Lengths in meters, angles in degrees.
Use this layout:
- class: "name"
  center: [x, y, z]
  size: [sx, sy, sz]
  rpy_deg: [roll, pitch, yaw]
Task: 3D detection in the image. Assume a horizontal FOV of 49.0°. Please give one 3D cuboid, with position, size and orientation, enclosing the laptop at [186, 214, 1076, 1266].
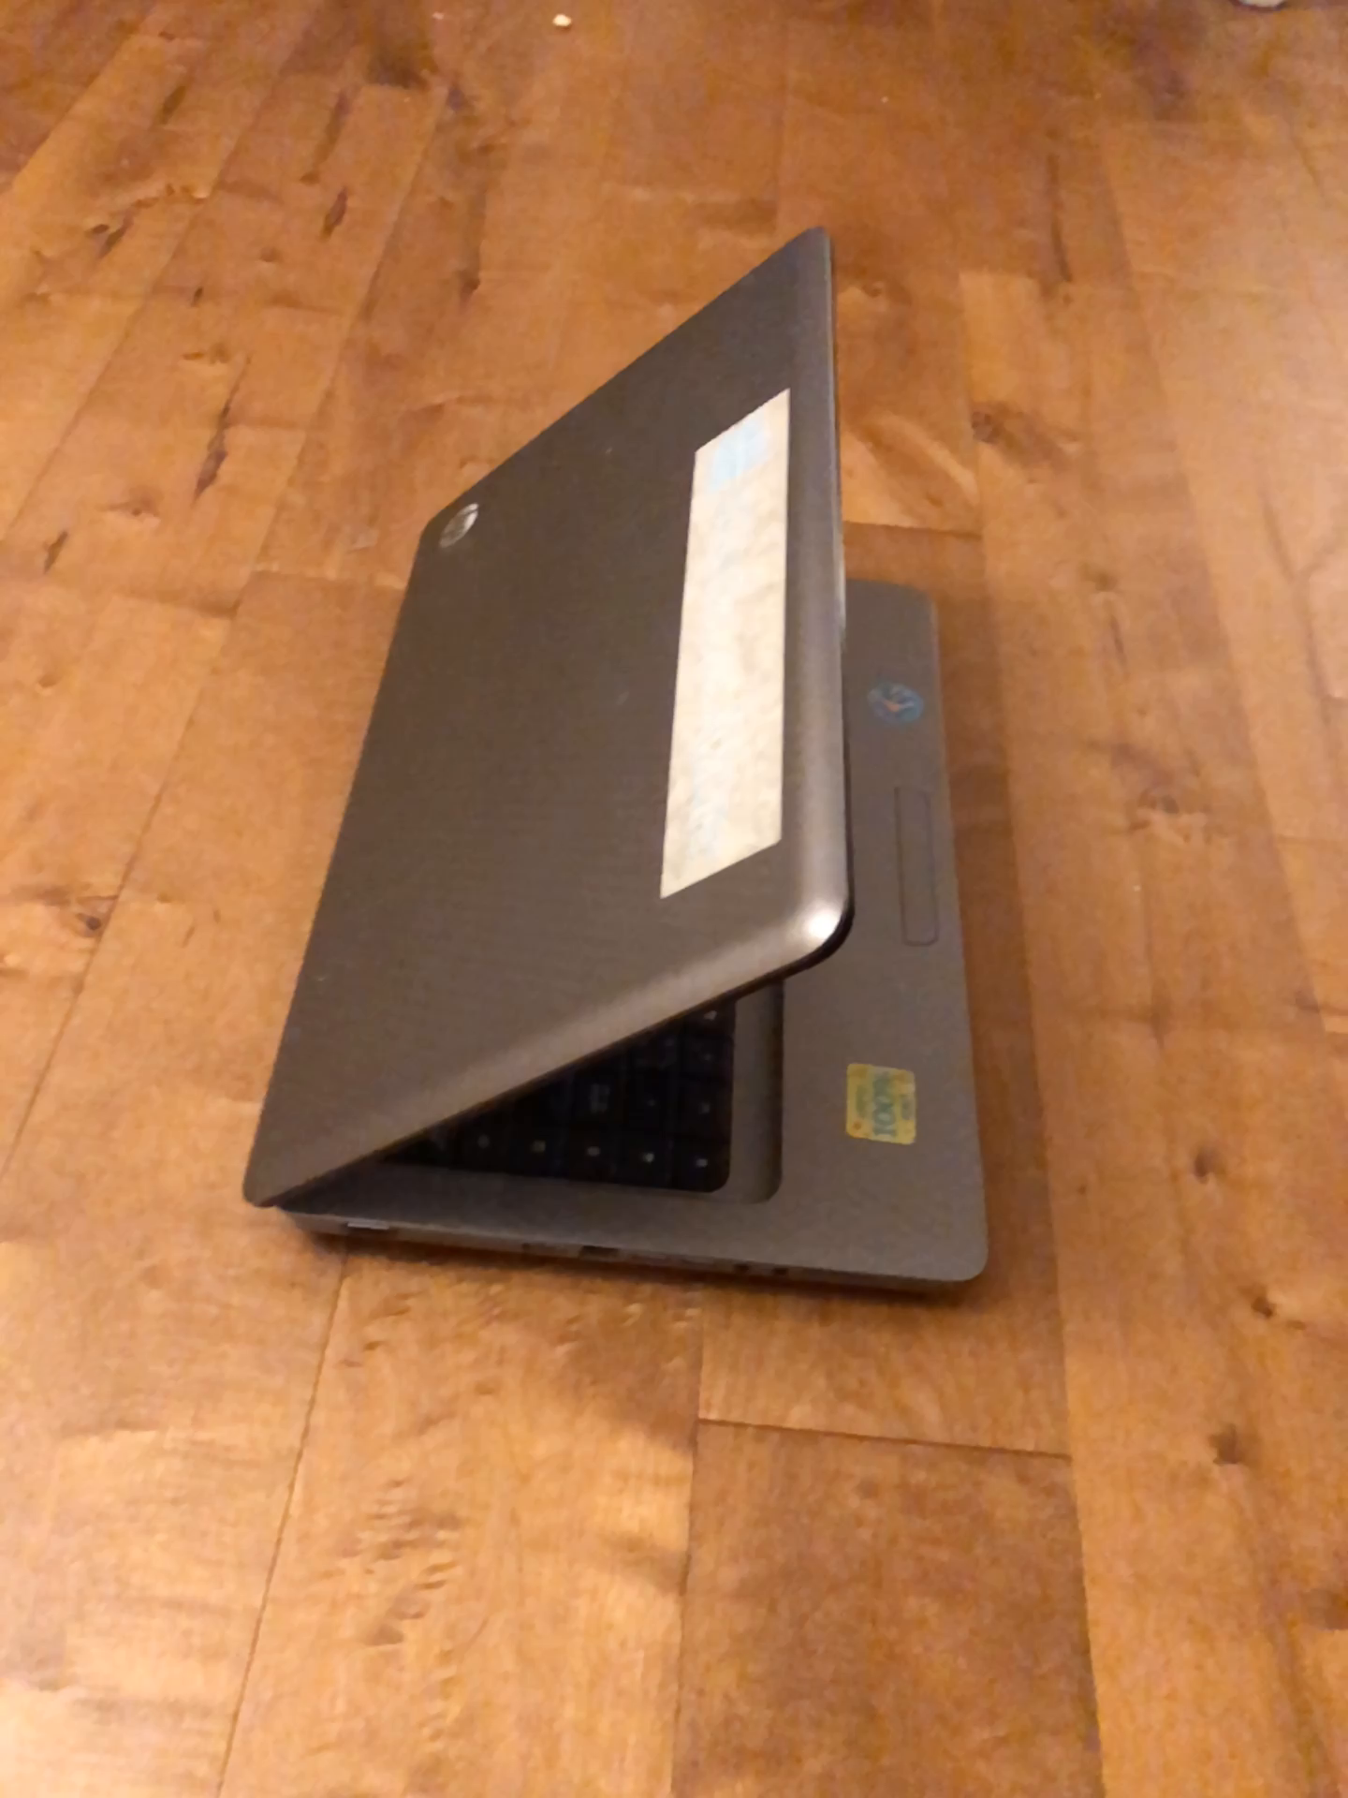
- class: "laptop"
  center: [-0.012, -0.074, 0.543]
  size: [0.222, 0.164, 0.348]
  rpy_deg: [6, 49, -4]
